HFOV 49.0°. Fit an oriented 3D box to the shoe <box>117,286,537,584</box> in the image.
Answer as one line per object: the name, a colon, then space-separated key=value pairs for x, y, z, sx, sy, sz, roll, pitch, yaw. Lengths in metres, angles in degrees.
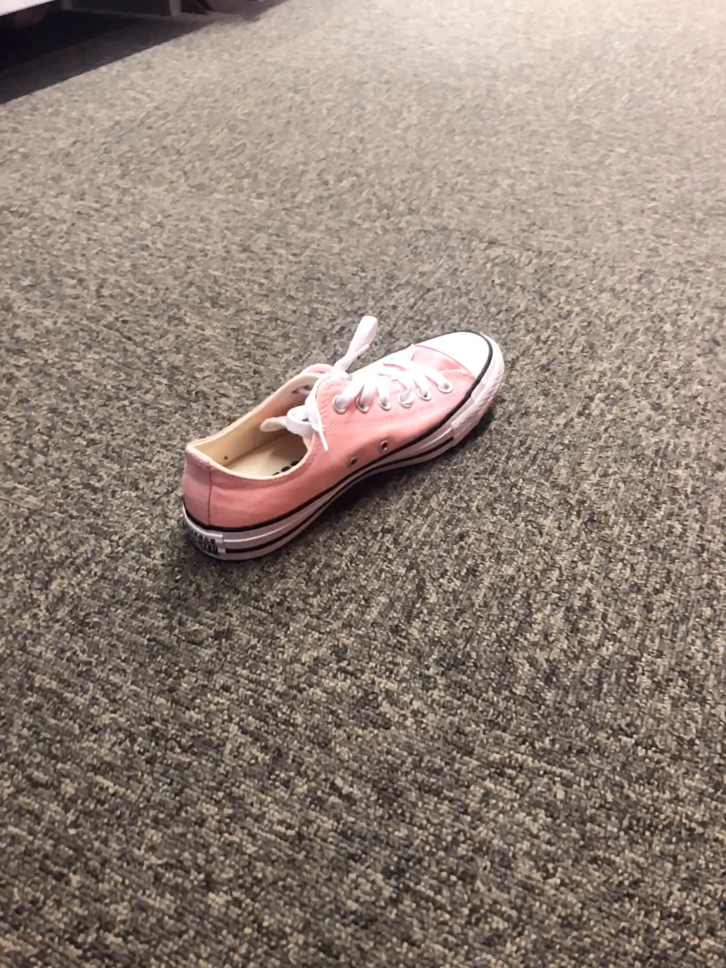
shoe: x=-0.010 y=-0.050 z=0.535 sx=0.100 sy=0.060 sz=0.281 roll=33 pitch=47 yaw=32
